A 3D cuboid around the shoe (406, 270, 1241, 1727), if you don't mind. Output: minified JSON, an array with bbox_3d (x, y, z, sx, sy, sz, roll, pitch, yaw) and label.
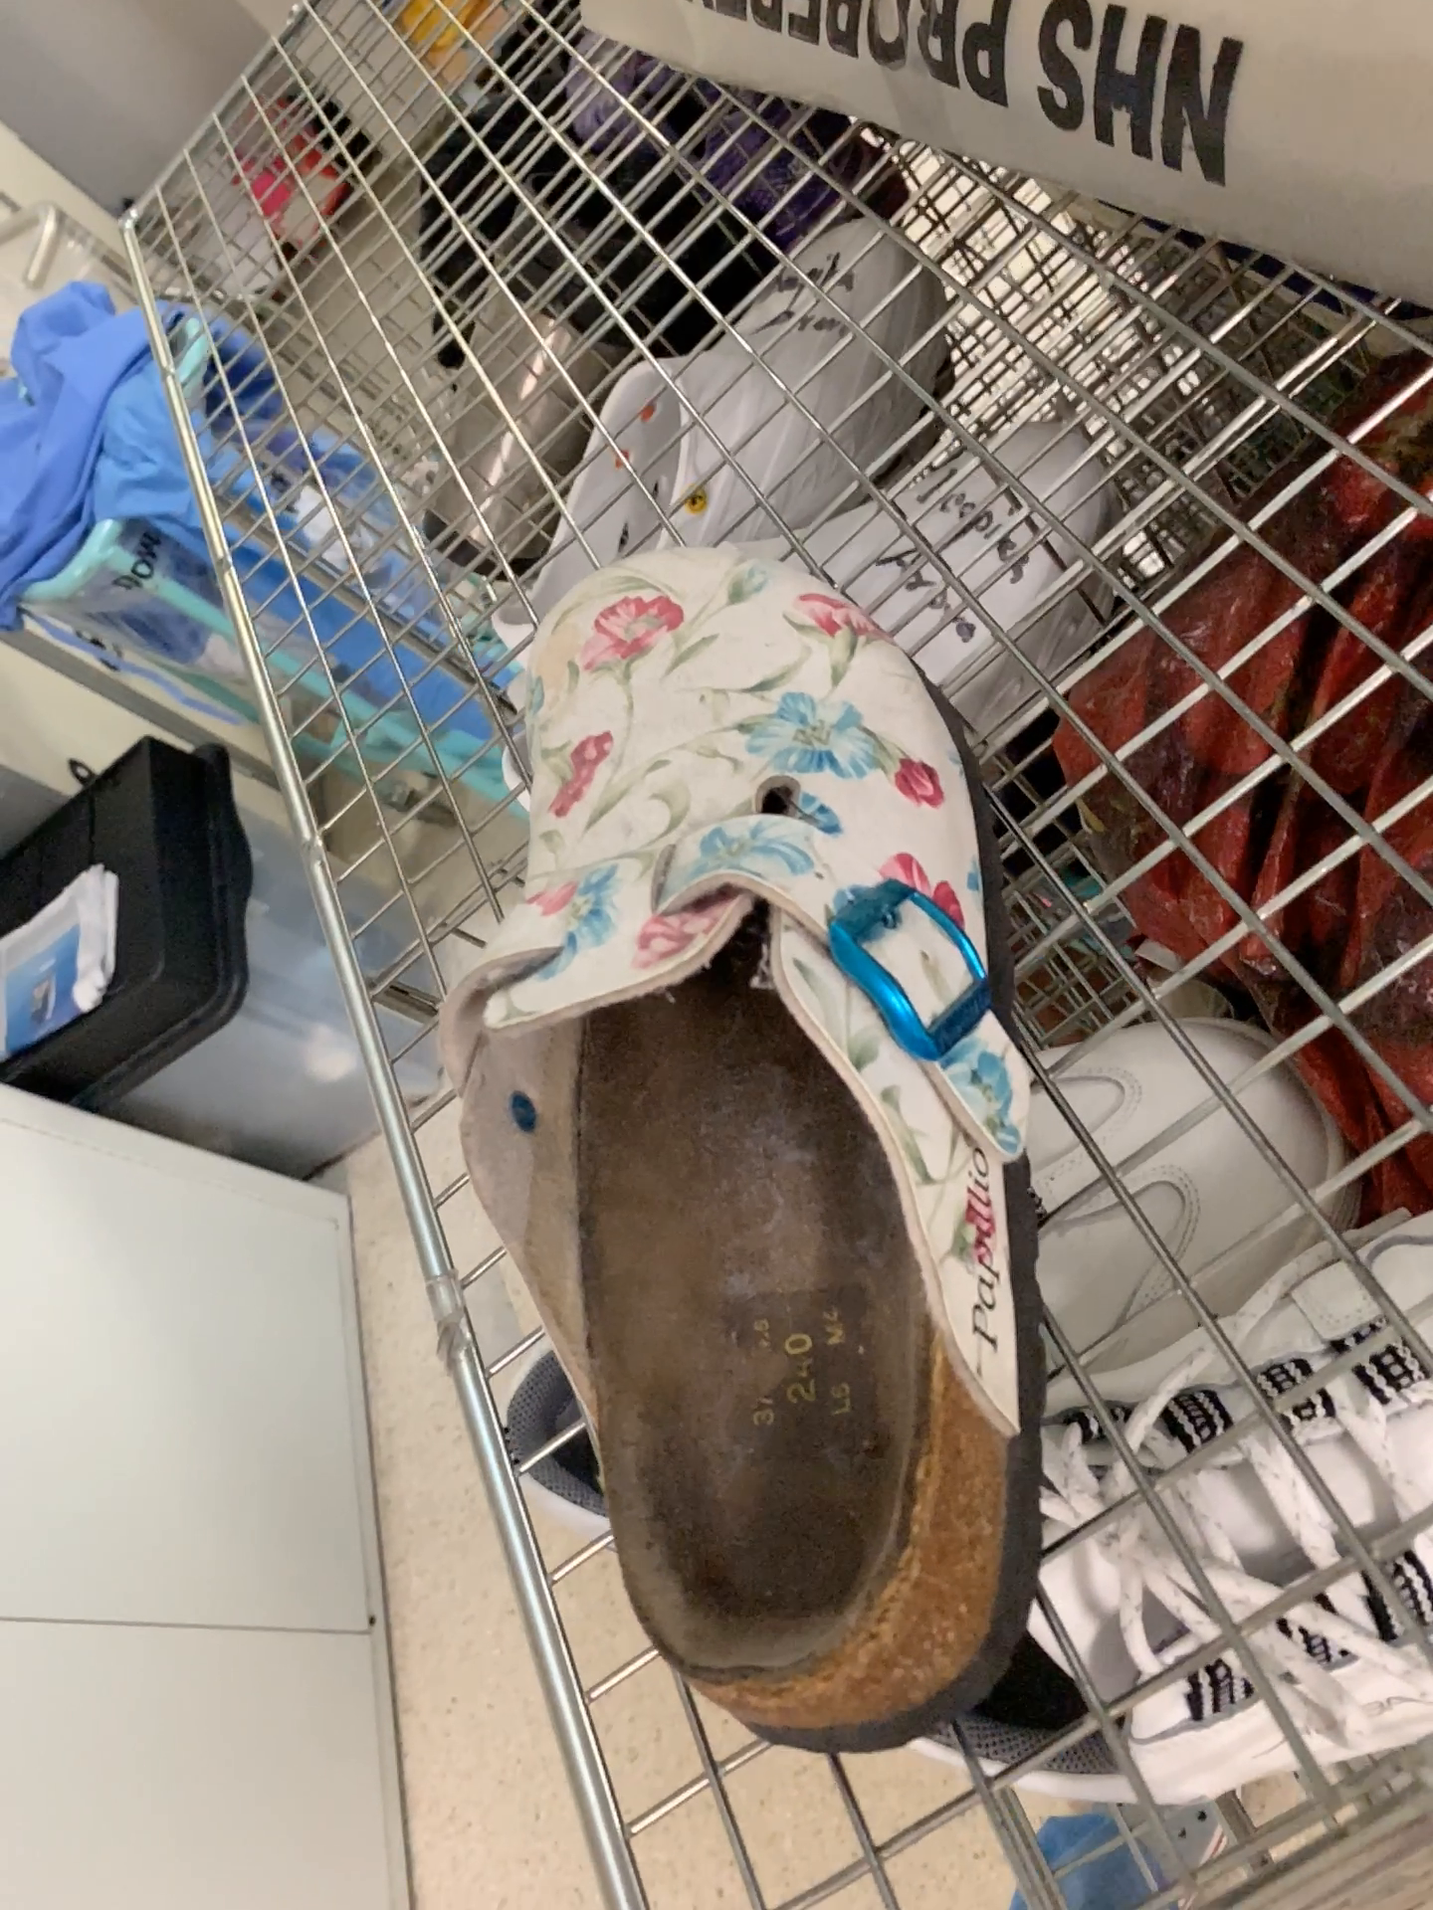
[{"bbox_3d":[0.003,-0.002,0.289,0.100,0.069,0.260,-26,54,26],"label":"shoe"}]
